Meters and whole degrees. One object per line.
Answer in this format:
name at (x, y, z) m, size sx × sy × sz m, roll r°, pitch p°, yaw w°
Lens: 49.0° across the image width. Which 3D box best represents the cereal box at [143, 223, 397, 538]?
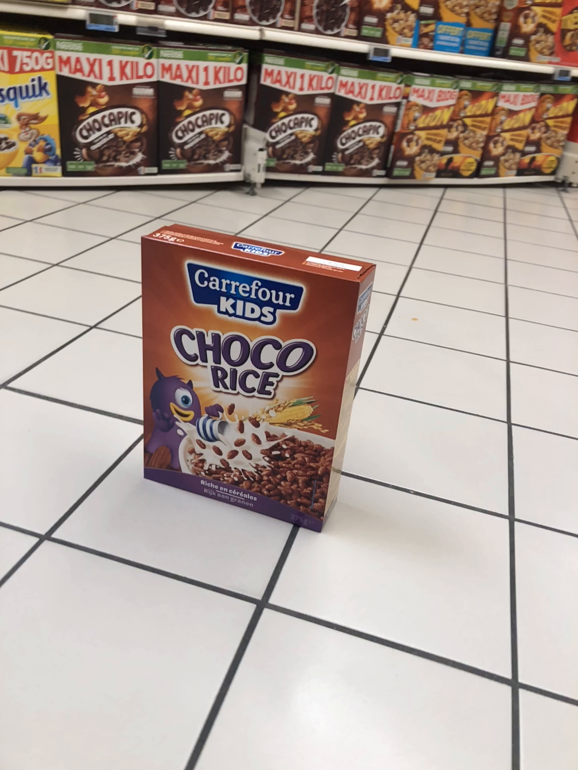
cereal box at (-0.026, -0.004, 0.581) m, size 0.200 × 0.239 × 0.070 m, roll 14°, pitch 28°, yaw 15°
